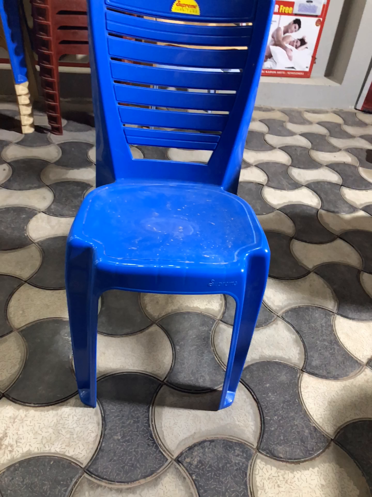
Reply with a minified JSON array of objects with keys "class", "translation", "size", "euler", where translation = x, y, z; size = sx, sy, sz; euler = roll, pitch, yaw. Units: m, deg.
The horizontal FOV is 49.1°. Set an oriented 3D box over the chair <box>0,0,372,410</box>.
[{"class":"chair","translation":[-0.034,-0.143,0.773],"size":[0.470,0.725,0.513],"euler":[4,36,-4]}]
